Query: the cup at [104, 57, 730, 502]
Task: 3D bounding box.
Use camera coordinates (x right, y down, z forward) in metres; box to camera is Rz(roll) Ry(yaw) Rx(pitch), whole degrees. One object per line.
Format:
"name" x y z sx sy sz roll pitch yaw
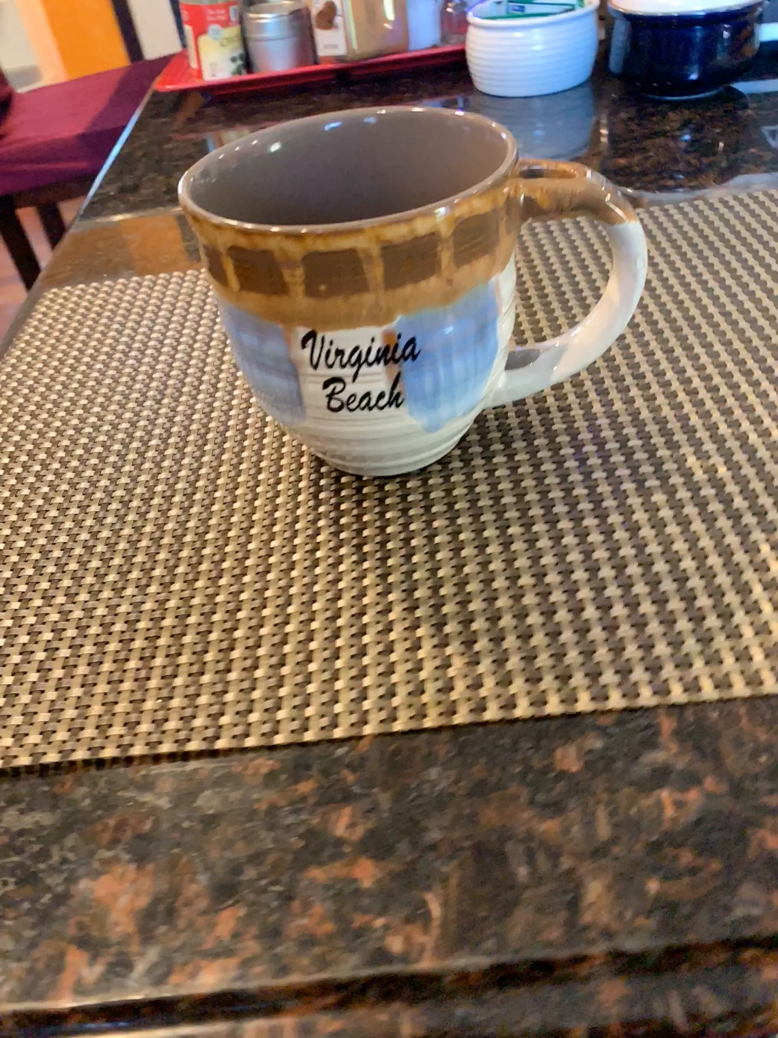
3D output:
"cup" 0.011 -0.076 0.258 0.150 0.090 0.101 -3 43 7
